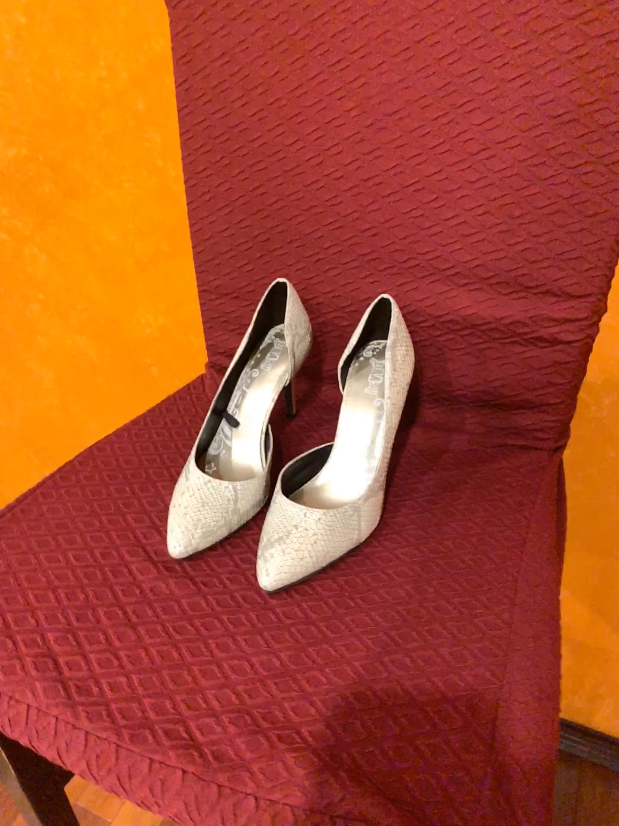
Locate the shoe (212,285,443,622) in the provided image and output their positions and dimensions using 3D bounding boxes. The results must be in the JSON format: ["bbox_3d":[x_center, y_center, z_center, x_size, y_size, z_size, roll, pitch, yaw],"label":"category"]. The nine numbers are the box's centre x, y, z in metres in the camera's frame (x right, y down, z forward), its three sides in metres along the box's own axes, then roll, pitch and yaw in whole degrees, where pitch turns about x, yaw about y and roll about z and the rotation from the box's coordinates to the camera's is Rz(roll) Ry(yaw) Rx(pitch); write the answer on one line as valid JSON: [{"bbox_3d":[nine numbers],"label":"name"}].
[{"bbox_3d":[0.028,0.015,0.510,0.090,0.120,0.249,13,42,18],"label":"shoe"}]

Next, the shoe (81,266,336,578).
[{"bbox_3d":[-0.063,-0.009,0.541,0.090,0.119,0.253,13,42,18],"label":"shoe"}]
